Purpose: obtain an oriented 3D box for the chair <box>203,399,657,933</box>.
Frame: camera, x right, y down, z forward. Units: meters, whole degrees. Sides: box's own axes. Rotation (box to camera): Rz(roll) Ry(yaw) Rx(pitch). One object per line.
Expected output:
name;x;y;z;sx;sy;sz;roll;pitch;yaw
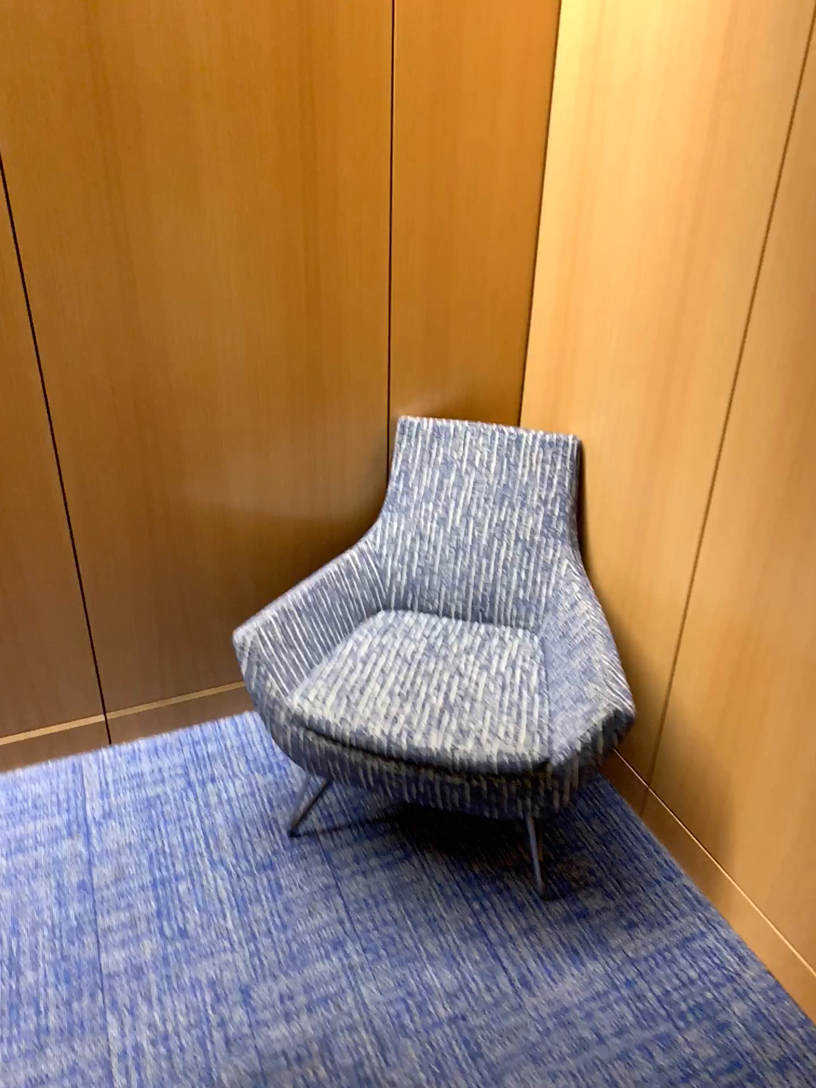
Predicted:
chair;0.077;0.198;1.685;0.699;0.746;0.617;8;29;11
